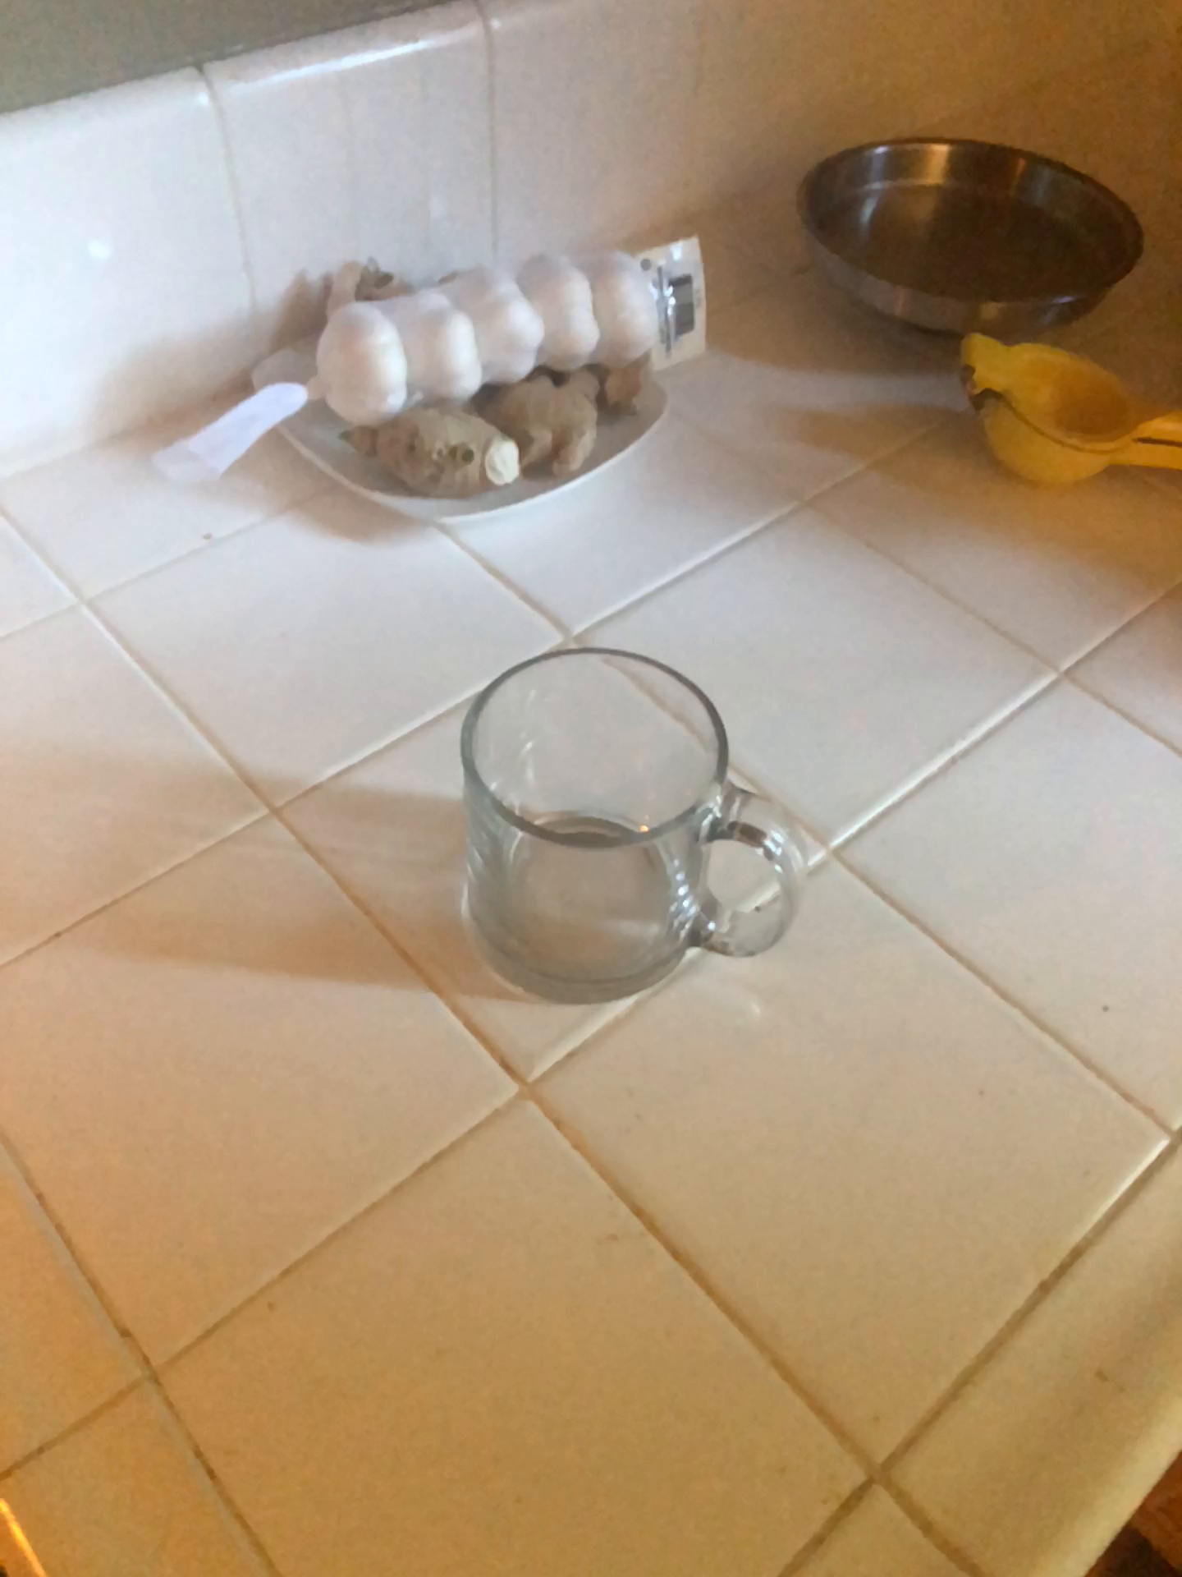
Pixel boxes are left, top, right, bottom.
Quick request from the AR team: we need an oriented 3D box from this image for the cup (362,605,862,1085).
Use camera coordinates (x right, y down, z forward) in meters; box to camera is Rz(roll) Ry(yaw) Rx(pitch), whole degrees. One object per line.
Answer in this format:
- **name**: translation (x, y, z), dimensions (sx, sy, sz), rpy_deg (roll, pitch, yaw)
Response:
- **cup**: translation (0.009, 0.017, 0.427), dimensions (0.130, 0.079, 0.101), rpy_deg (14, 51, 8)
